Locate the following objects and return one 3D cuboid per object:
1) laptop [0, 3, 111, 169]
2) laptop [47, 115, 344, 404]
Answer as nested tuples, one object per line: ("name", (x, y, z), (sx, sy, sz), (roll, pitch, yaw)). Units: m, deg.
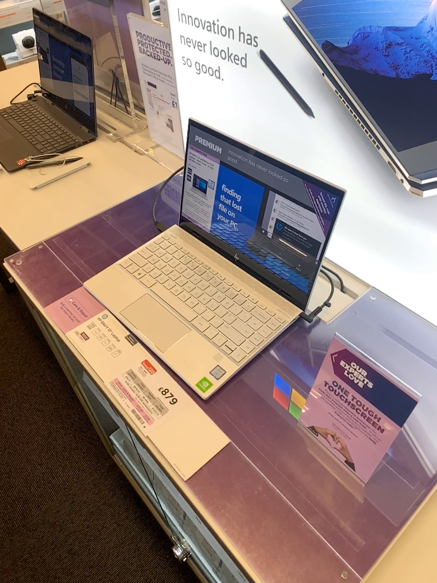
("laptop", (-0.537, -0.568, 1.216), (0.313, 0.236, 0.300), (-36, 57, -25))
("laptop", (-0.032, -0.068, 0.642), (0.261, 0.181, 0.296), (-37, 55, -26))
